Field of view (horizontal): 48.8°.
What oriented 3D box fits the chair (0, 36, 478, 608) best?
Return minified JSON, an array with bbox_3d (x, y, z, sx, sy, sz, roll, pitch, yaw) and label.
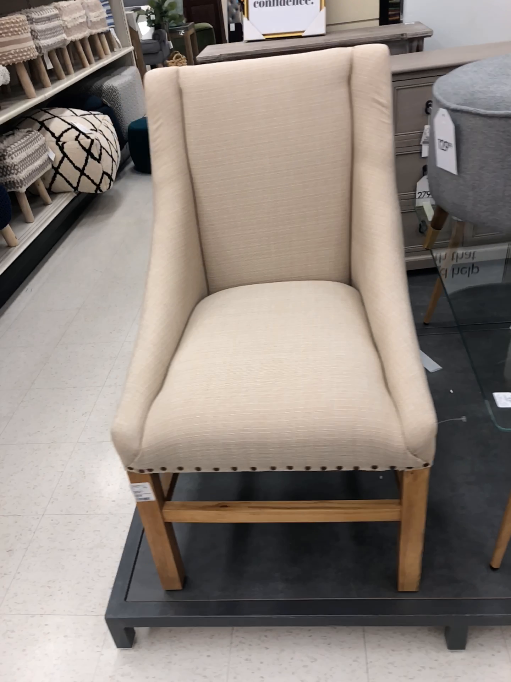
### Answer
[{"bbox_3d":[0.014,-0.027,1.184,0.610,0.966,0.653,-3,33,7],"label":"chair"}]
